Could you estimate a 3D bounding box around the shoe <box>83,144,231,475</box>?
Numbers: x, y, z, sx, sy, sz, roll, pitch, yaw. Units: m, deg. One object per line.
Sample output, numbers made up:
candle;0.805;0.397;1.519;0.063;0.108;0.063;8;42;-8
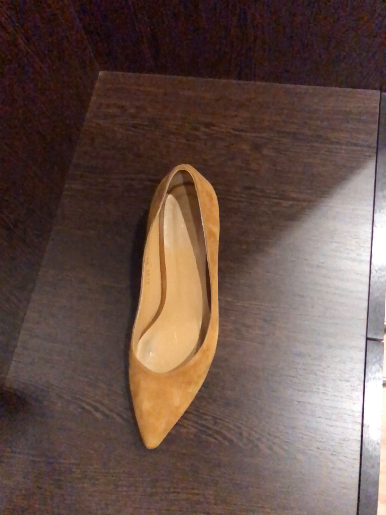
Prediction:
shoe;-0.019;0.040;0.397;0.090;0.100;0.270;3;71;8
